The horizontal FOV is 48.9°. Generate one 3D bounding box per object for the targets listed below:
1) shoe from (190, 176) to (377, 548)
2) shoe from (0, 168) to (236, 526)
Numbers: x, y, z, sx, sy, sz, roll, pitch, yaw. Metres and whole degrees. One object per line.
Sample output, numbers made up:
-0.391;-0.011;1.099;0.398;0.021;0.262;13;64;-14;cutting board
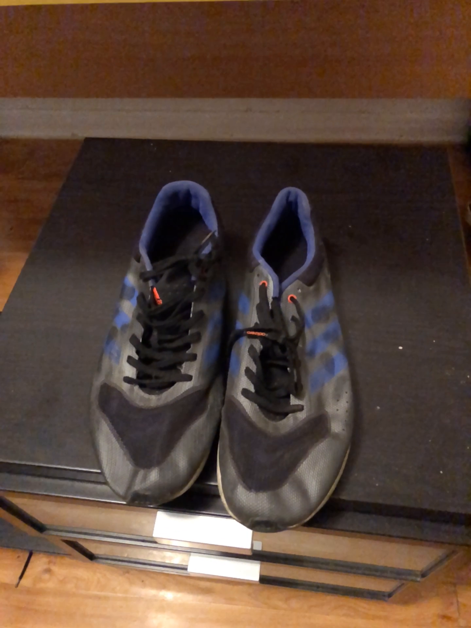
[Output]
0.047;0.015;0.422;0.110;0.070;0.302;4;54;6;shoe
-0.072;0.008;0.405;0.110;0.079;0.272;4;54;6;shoe
